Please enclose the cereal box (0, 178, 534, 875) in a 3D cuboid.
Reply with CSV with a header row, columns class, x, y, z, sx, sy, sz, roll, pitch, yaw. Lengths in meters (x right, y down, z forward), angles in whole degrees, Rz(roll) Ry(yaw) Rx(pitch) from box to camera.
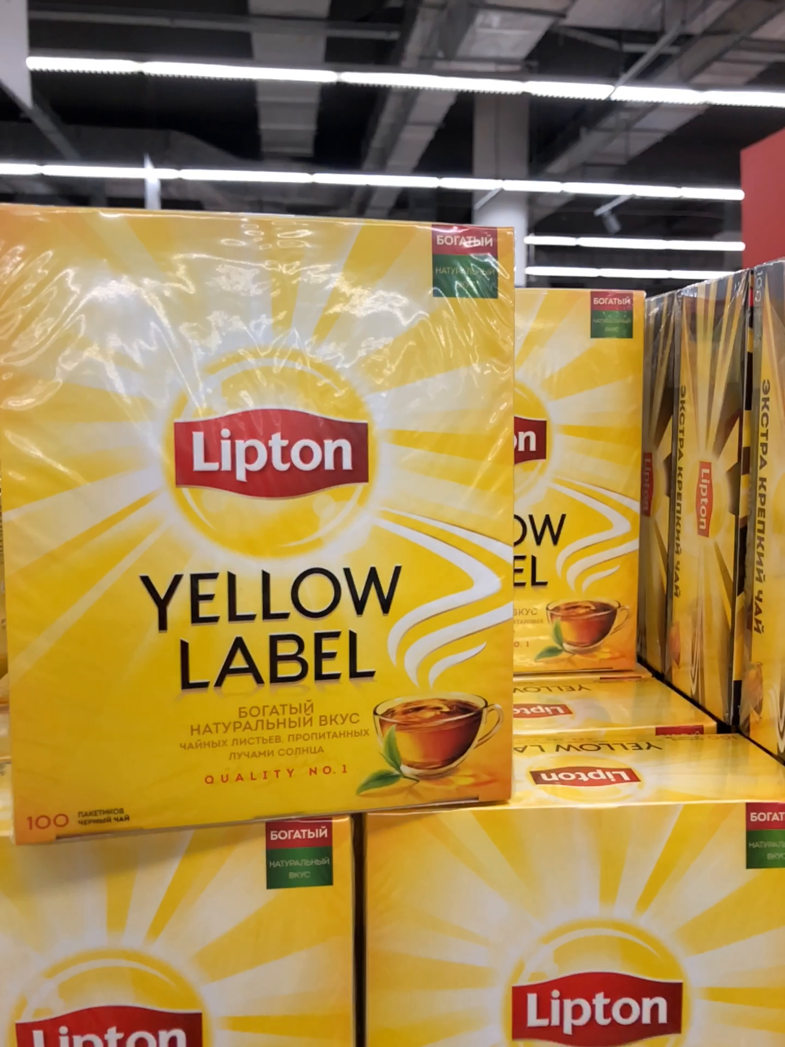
class,x,y,z,sx,sy,sz,roll,pitch,yaw
cereal box,-0.037,-0.002,0.259,0.140,0.170,0.070,-1,5,-11
